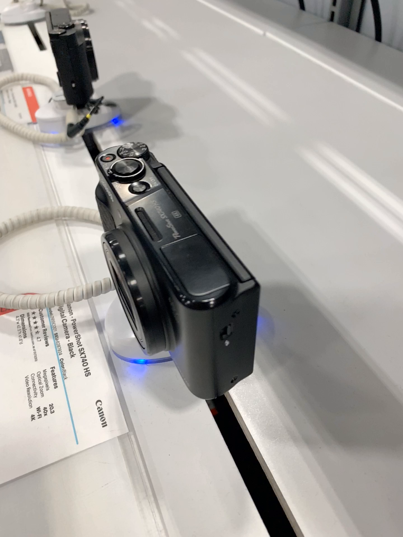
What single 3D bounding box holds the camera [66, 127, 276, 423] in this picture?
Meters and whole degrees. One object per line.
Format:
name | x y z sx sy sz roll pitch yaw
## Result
camera | -0.019 -0.005 0.192 0.041 0.063 0.121 -20 48 -17
